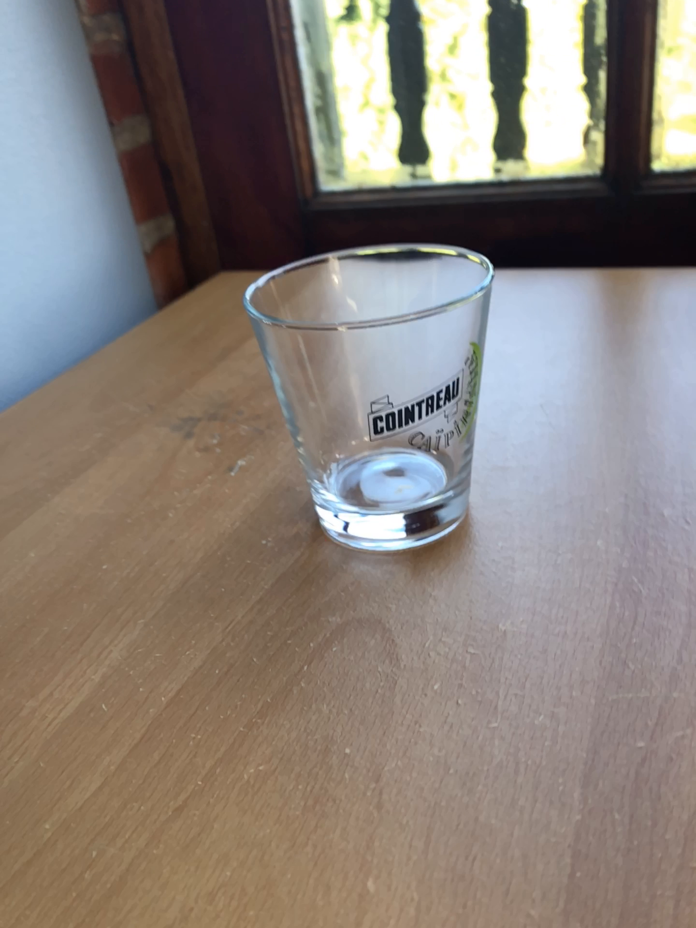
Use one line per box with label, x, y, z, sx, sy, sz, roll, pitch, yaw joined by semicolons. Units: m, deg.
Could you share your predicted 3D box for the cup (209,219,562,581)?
cup;0.012;-0.026;0.247;0.079;0.073;0.076;-7;30;4
